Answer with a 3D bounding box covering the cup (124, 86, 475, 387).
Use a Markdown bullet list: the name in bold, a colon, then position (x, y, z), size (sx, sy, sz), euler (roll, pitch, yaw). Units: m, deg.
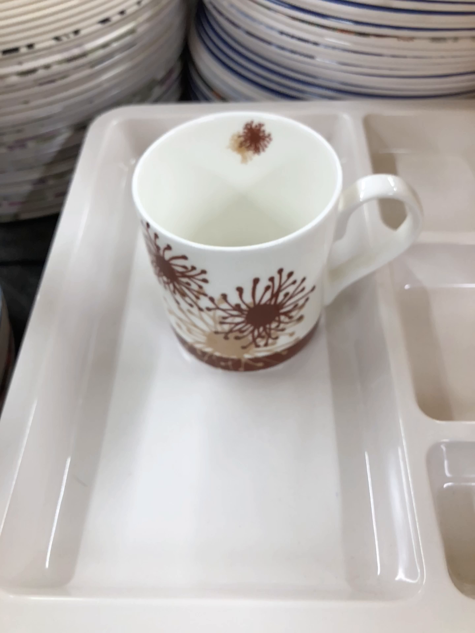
- **cup**: position (0.022, -0.031, 0.232), size (0.120, 0.090, 0.080), euler (-4, 55, -2)
